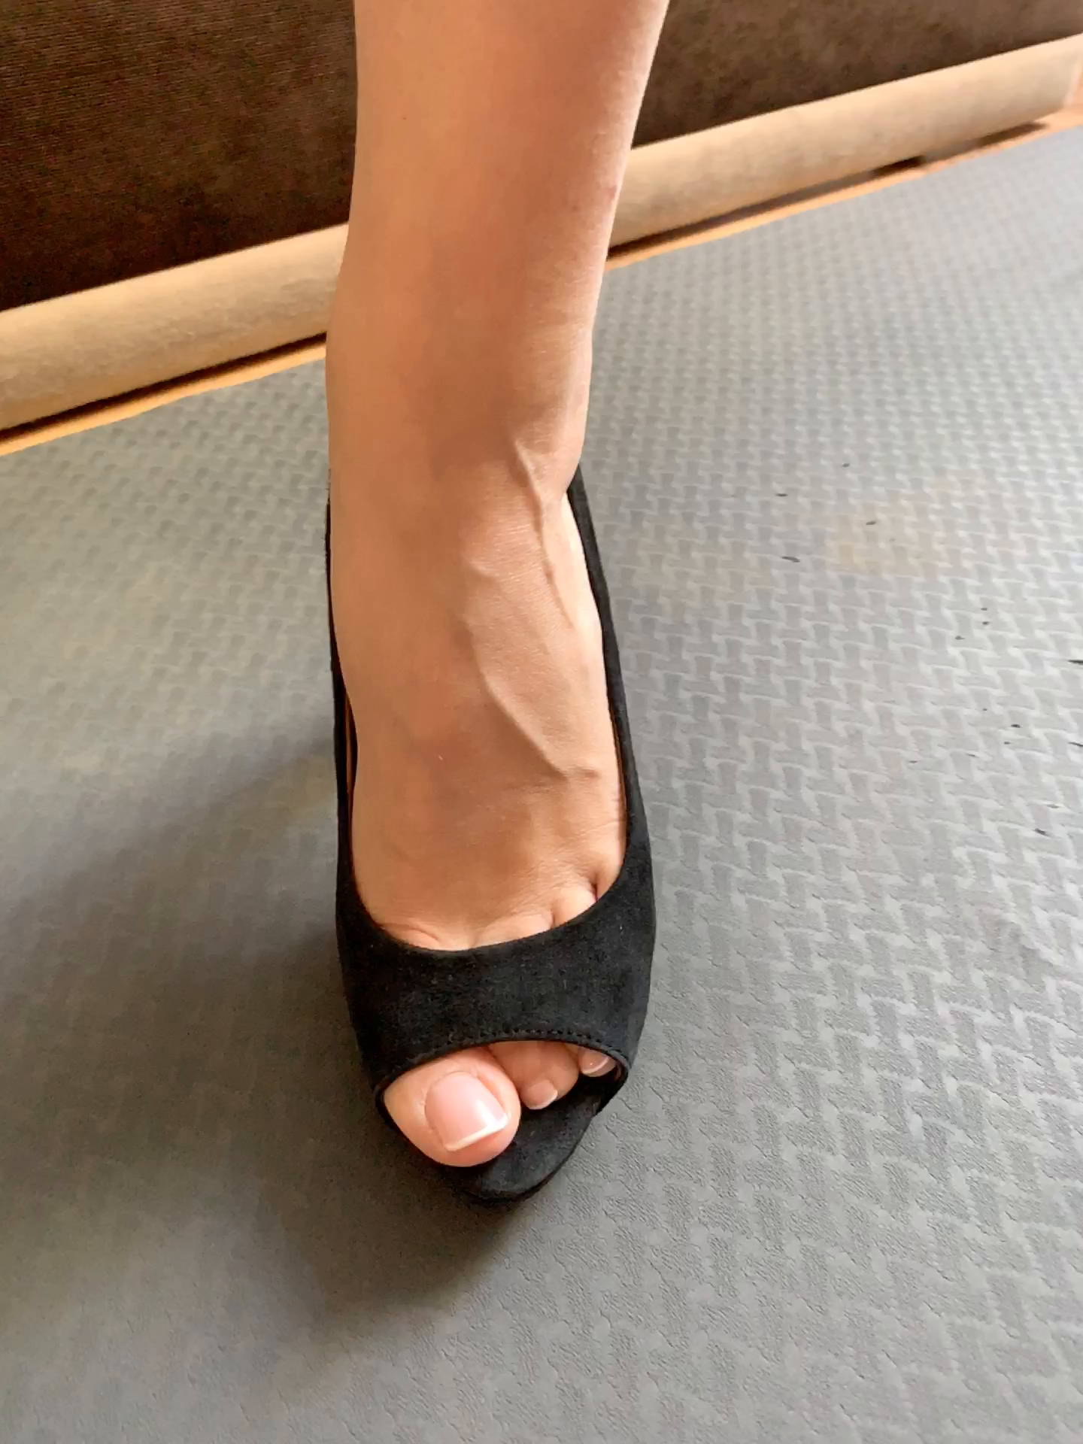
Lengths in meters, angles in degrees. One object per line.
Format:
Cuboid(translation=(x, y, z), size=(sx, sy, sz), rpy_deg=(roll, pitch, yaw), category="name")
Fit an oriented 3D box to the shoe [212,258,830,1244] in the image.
Cuboid(translation=(-0.011, -0.007, 0.287), size=(0.090, 0.139, 0.211), rpy_deg=(-4, 43, -3), category="shoe")
